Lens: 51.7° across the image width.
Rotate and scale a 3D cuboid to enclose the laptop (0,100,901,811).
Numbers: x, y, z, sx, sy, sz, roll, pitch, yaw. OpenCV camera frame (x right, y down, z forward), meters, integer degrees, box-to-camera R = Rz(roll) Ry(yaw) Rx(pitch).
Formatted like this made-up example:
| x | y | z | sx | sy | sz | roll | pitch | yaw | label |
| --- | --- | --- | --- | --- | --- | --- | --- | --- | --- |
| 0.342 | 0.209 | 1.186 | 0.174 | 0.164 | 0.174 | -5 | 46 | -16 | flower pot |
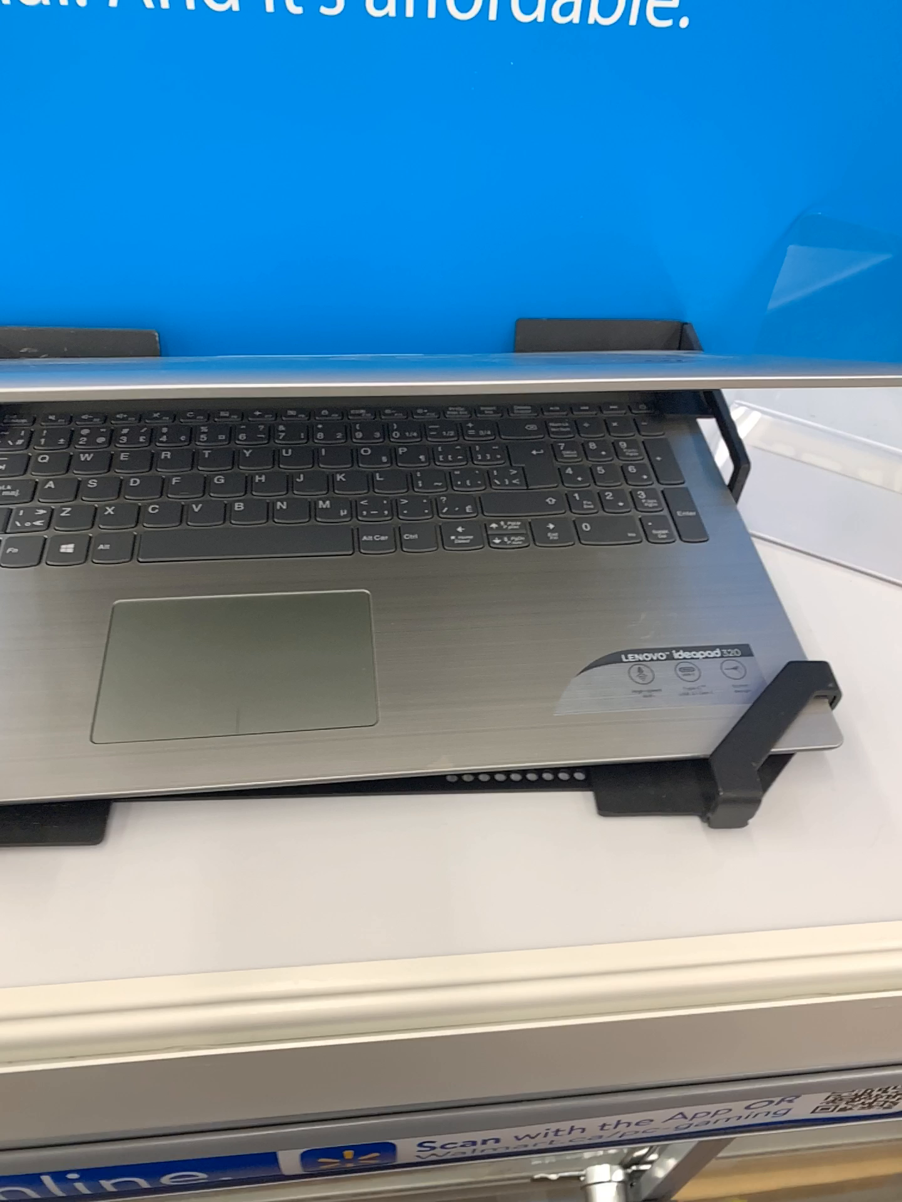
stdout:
| x | y | z | sx | sy | sz | roll | pitch | yaw | label |
| --- | --- | --- | --- | --- | --- | --- | --- | --- | --- |
| -0.037 | -0.065 | 0.324 | 0.324 | 0.110 | 0.220 | -2 | 49 | -8 | laptop |
